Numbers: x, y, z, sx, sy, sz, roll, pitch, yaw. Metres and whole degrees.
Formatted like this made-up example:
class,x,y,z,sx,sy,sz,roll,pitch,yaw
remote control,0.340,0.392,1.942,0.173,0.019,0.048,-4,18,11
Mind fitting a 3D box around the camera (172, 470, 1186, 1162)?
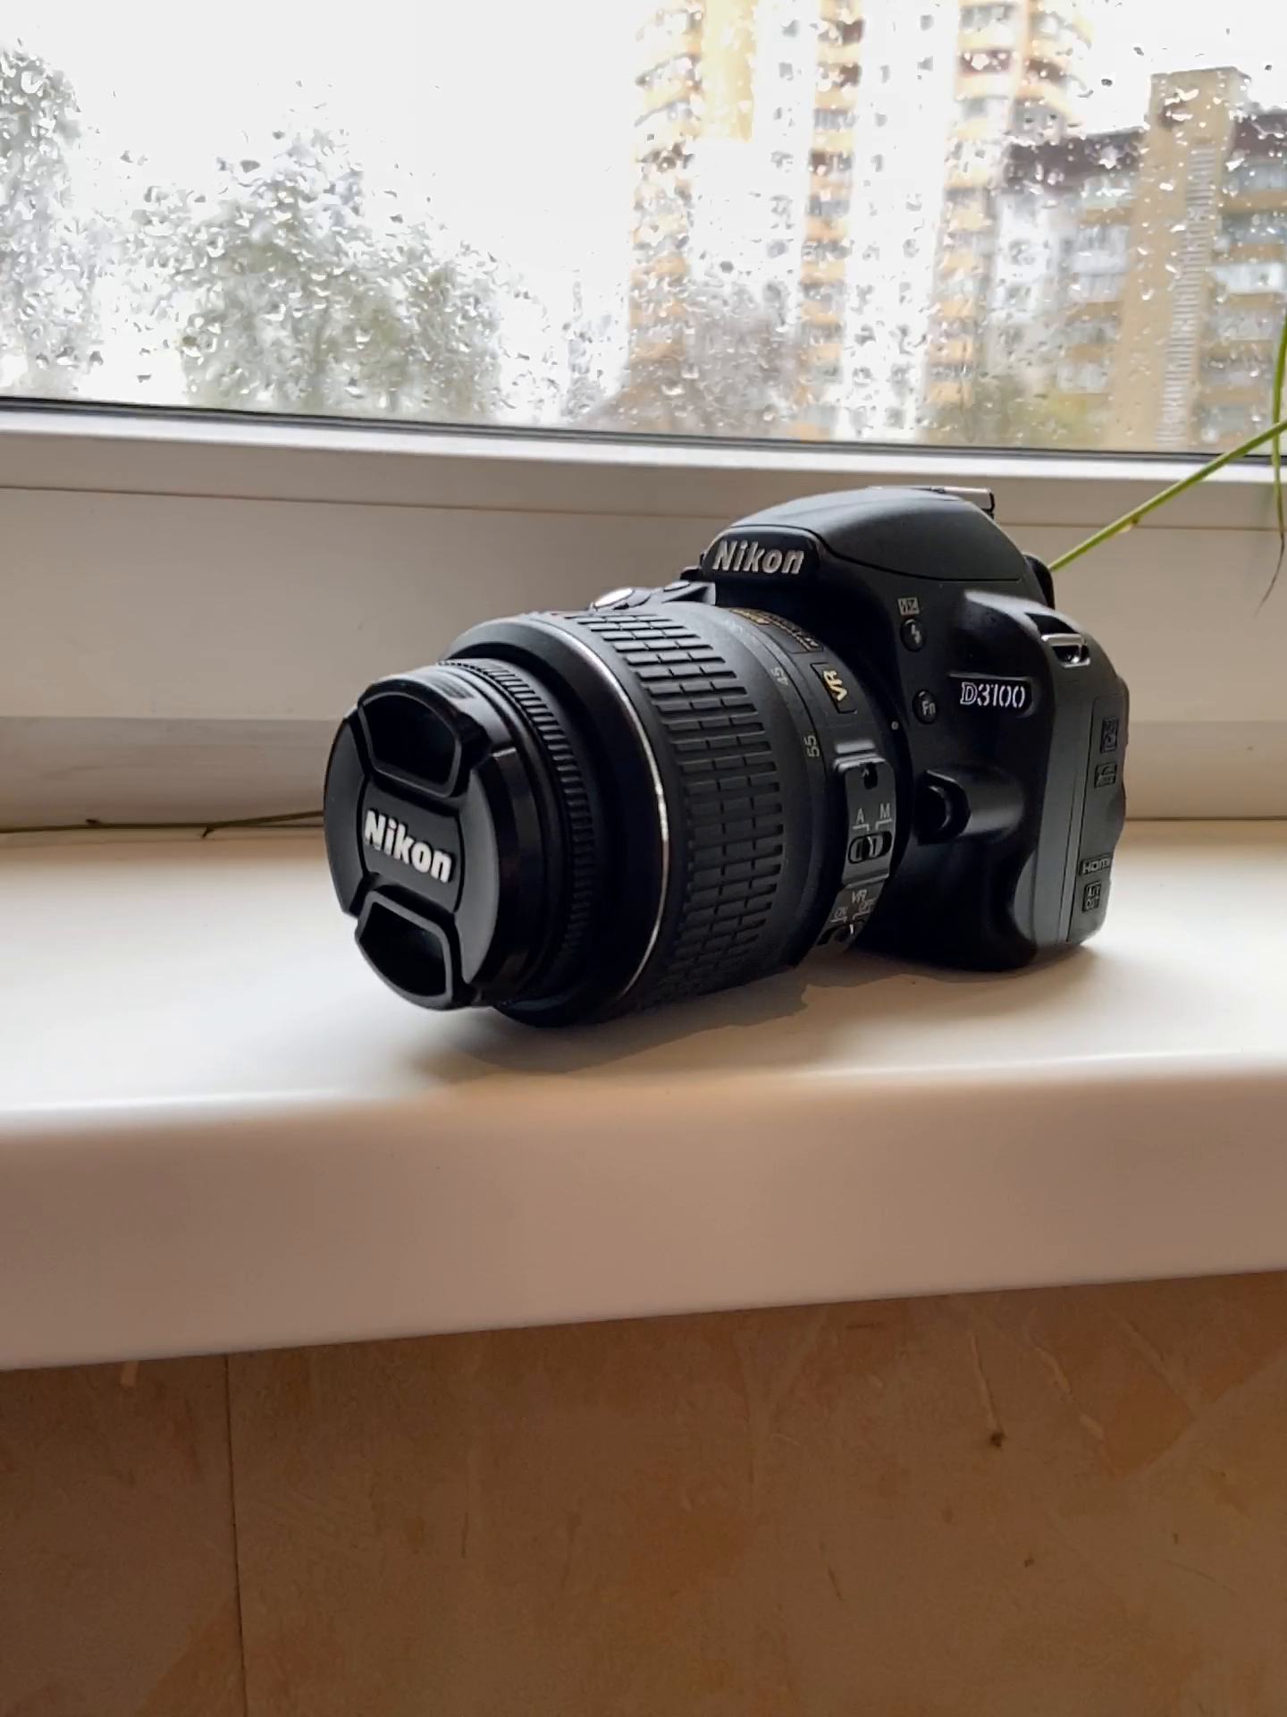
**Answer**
class,x,y,z,sx,sy,sz,roll,pitch,yaw
camera,0.010,-0.028,0.269,0.124,0.091,0.155,16,20,43
